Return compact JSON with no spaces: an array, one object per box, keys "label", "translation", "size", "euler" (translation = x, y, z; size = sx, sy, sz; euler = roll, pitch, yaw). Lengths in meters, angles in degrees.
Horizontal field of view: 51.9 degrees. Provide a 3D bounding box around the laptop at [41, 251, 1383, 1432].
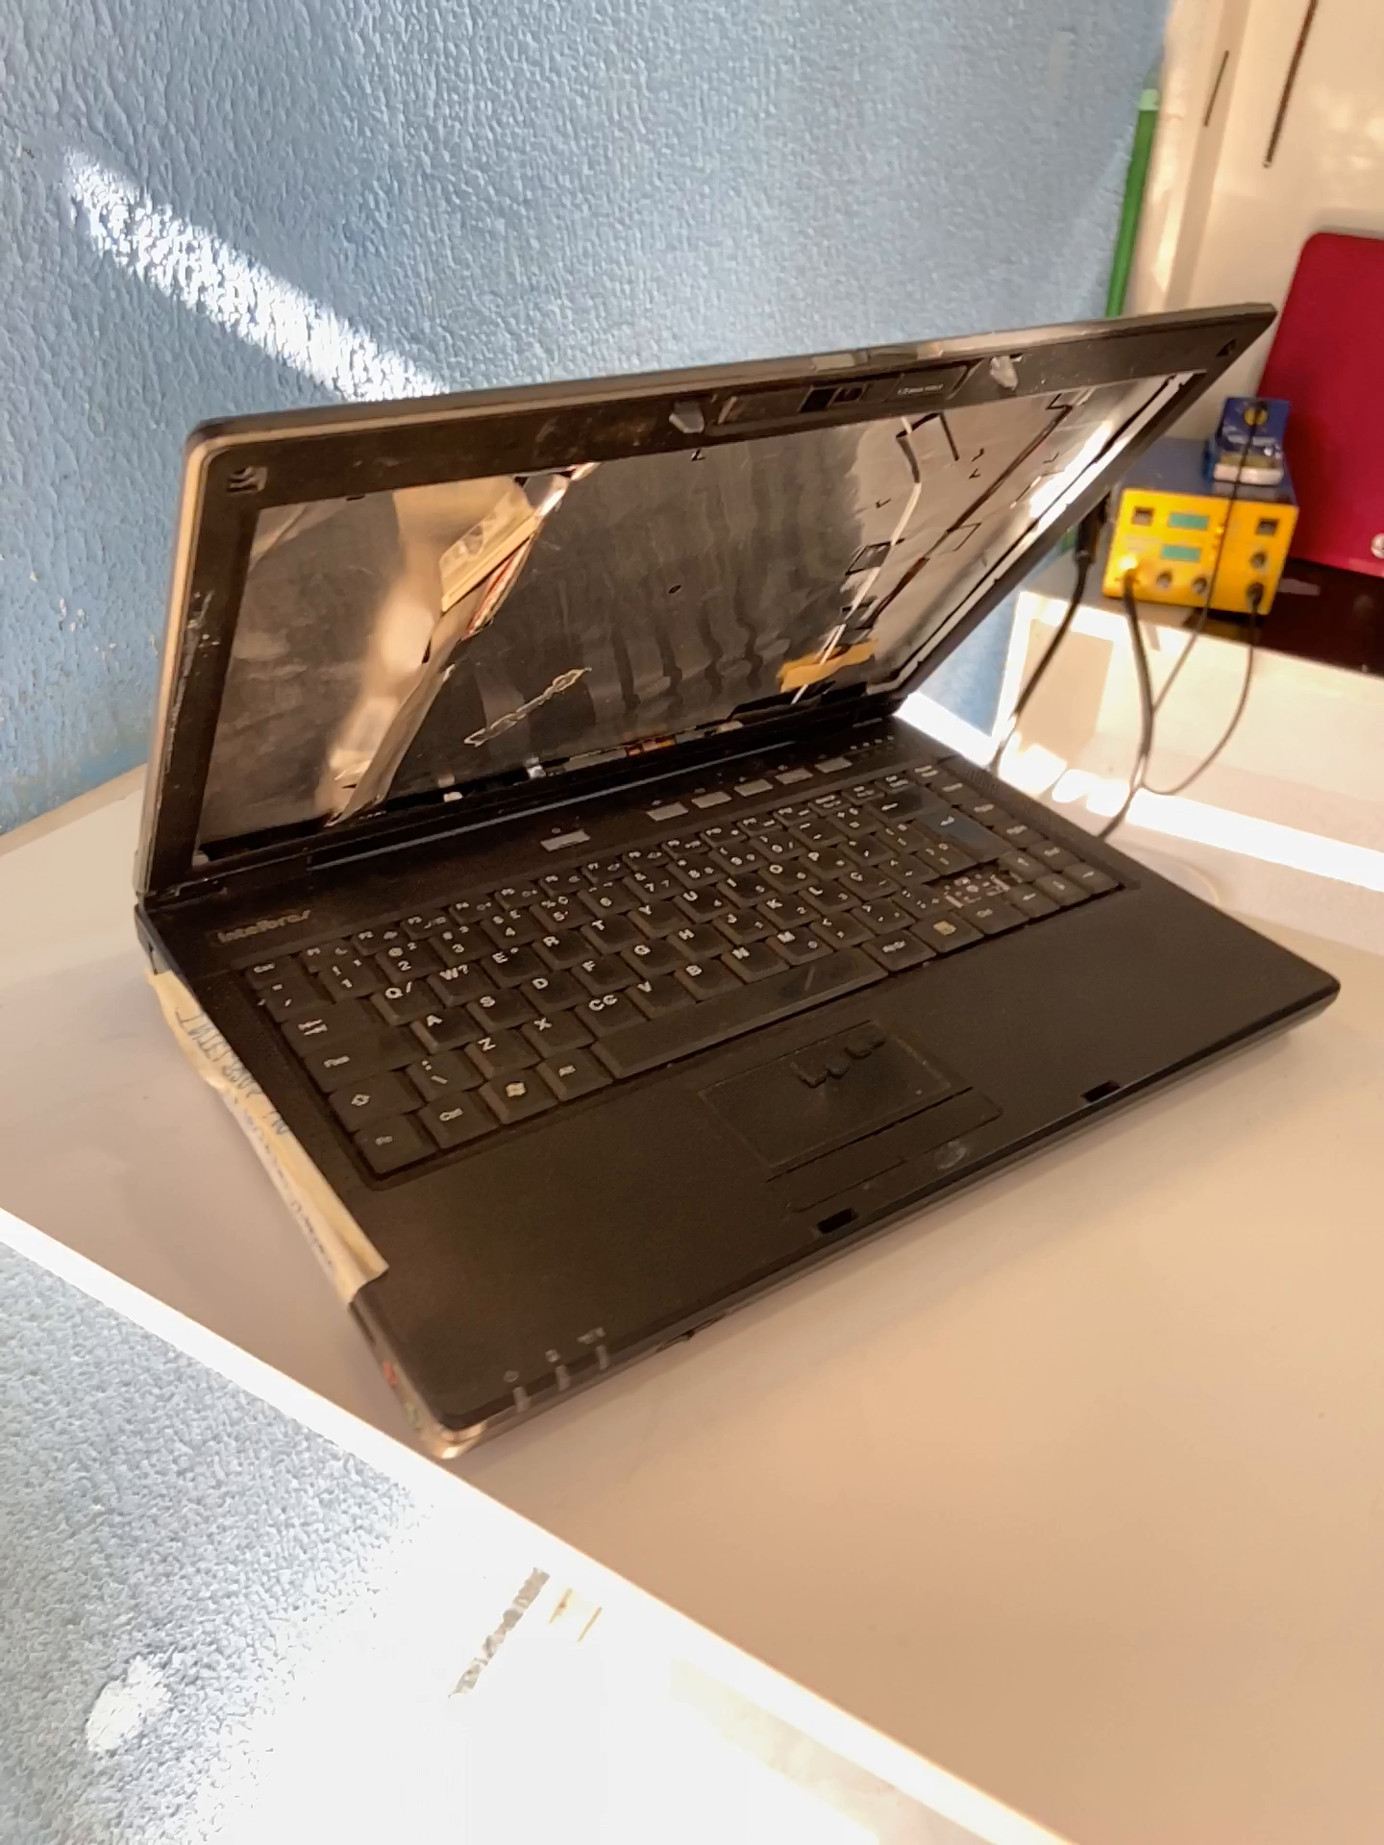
[{"label":"laptop","translation":[0.024,-0.069,0.420],"size":[0.323,0.191,0.232],"euler":[-18,39,-30]}]
